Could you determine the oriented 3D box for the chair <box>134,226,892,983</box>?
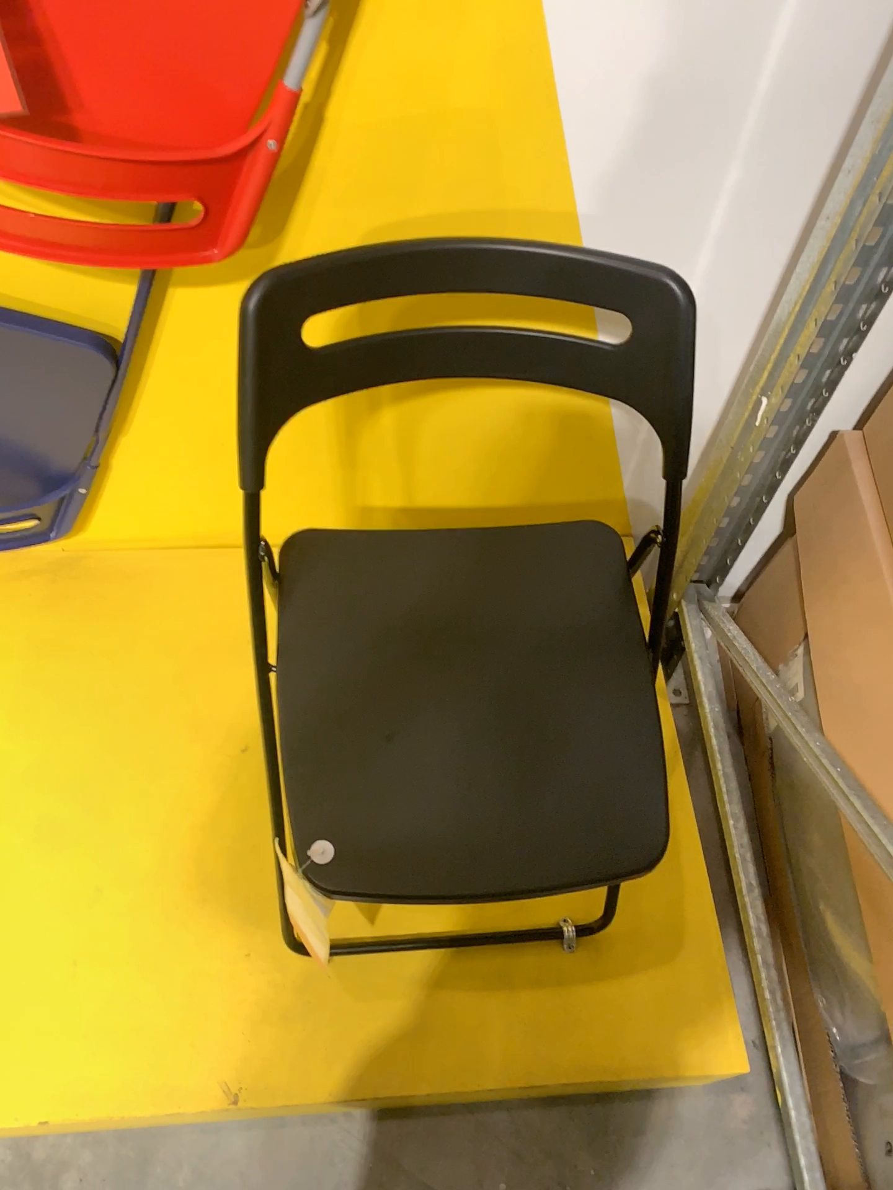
[{"bbox_3d":[0.016,0.074,0.915,0.440,0.698,0.441,-2,57,-5],"label":"chair"}]
